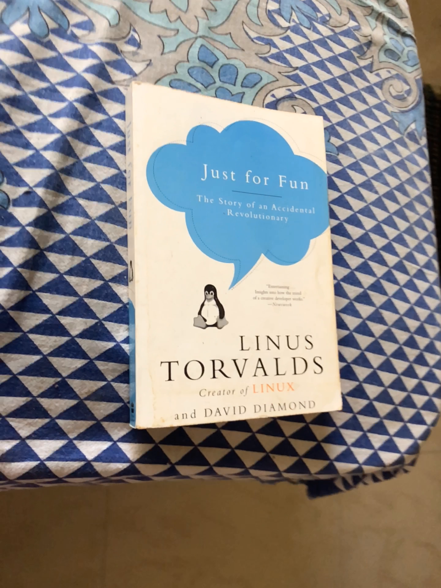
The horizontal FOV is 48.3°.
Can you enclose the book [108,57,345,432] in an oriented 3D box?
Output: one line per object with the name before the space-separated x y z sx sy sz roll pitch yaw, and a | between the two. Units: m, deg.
book | 0.004 -0.029 0.311 0.141 0.030 0.210 1 81 -24
